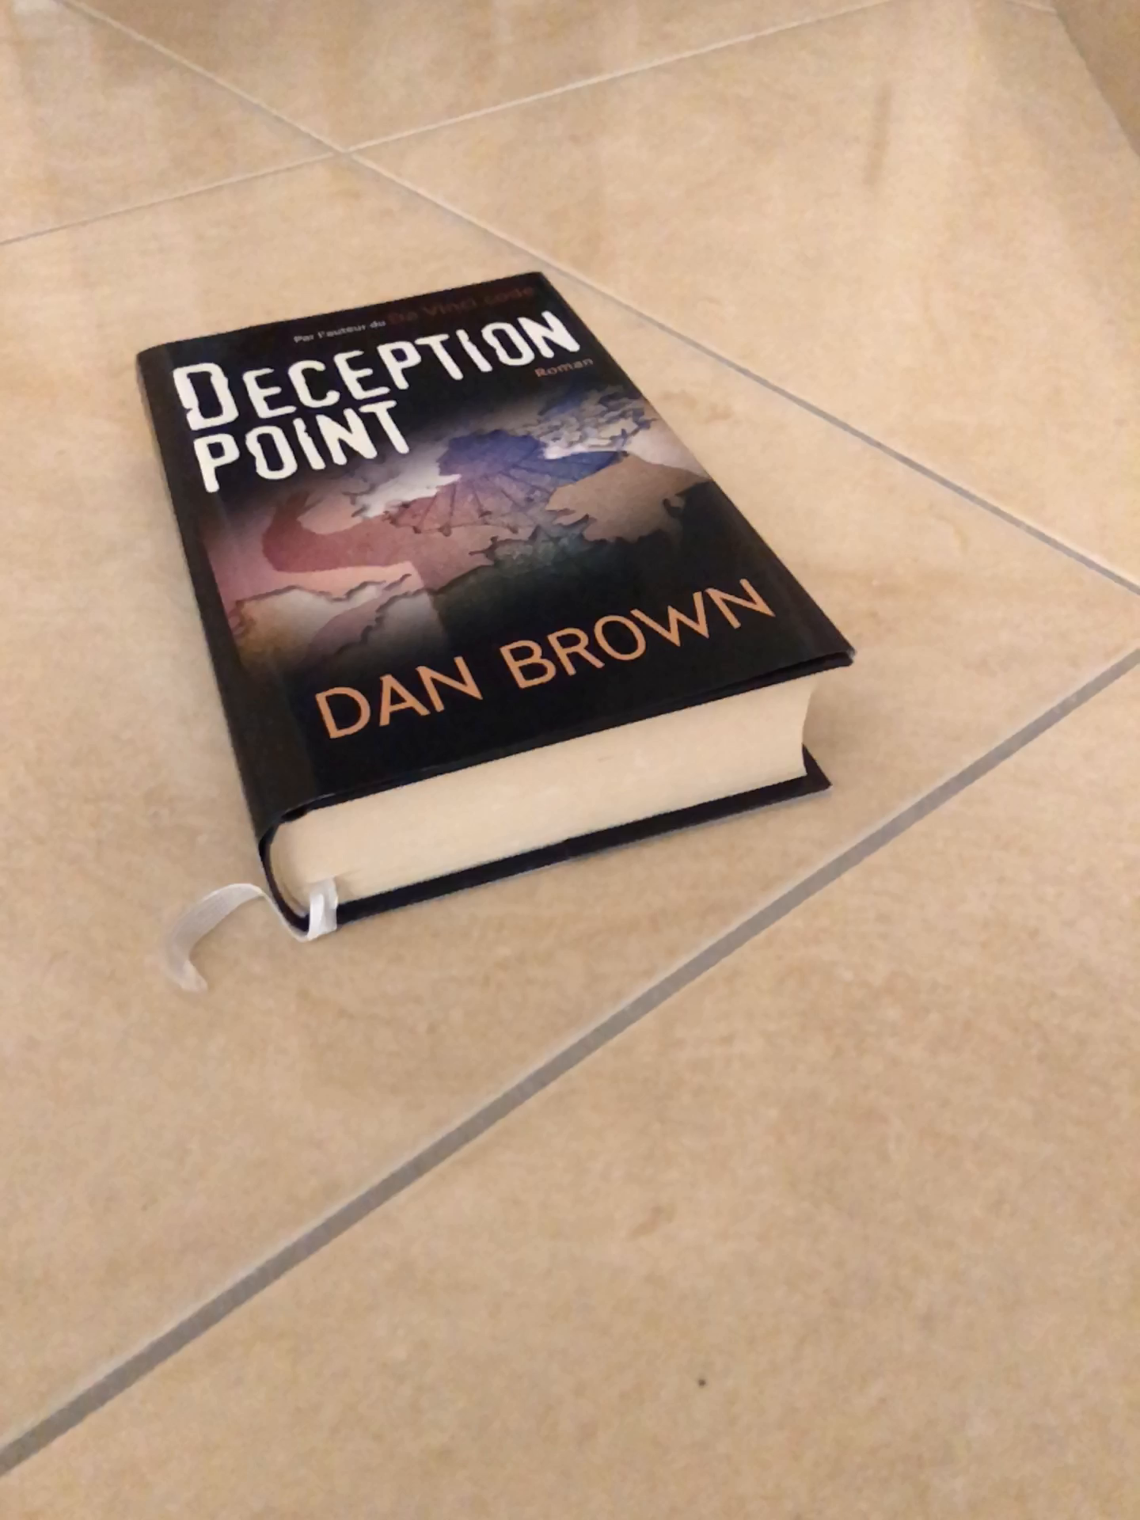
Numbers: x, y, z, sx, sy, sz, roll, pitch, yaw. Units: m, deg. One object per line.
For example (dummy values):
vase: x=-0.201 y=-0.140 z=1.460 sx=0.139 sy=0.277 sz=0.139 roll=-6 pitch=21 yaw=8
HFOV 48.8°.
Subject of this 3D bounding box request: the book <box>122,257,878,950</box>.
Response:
book: x=-0.034 y=-0.062 z=0.336 sx=0.137 sy=0.037 sz=0.213 roll=-16 pitch=47 yaw=-12
